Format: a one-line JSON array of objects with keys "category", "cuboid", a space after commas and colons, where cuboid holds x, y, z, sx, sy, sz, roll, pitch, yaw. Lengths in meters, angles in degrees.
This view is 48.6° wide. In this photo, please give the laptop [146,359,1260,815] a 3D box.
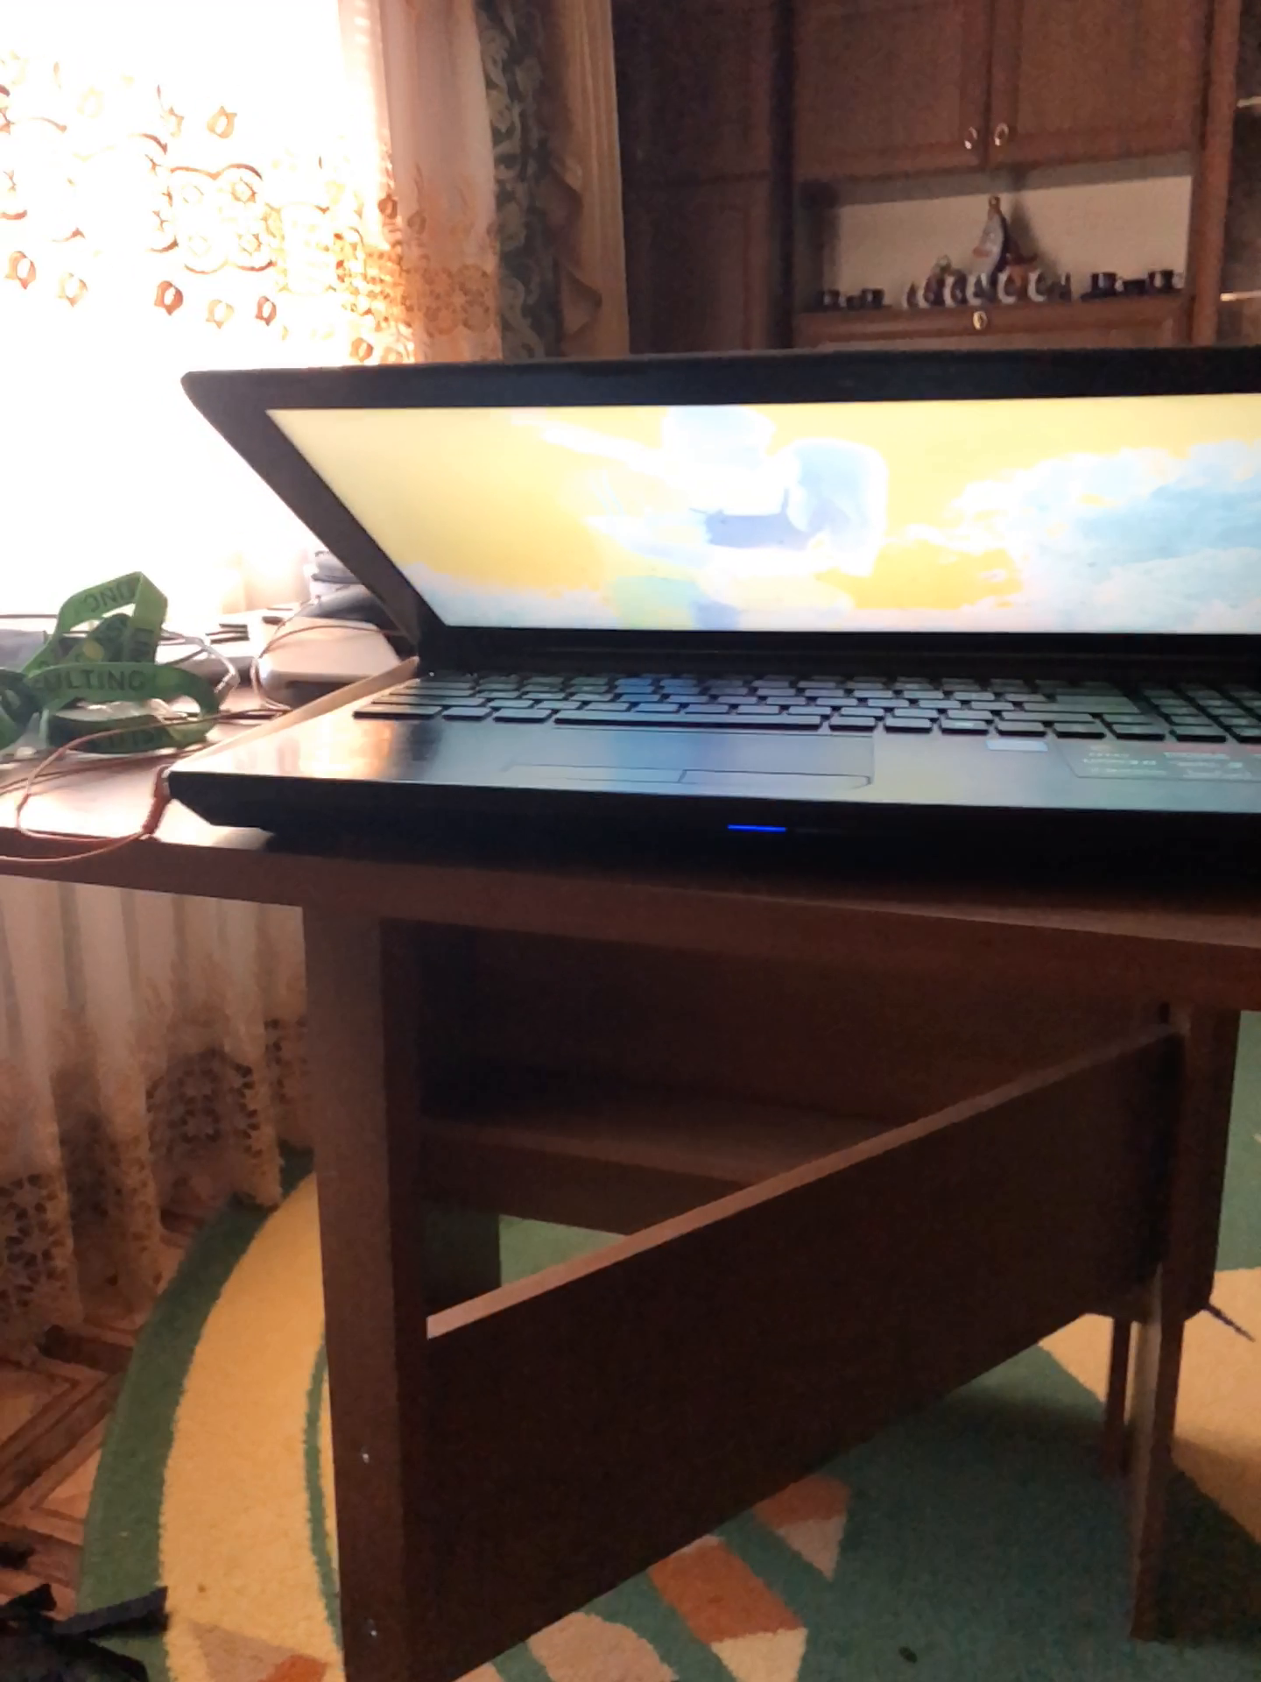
[{"category": "laptop", "cuboid": [0.071, -0.091, 0.451, 0.372, 0.095, 0.239, 2, 15, 11]}]
